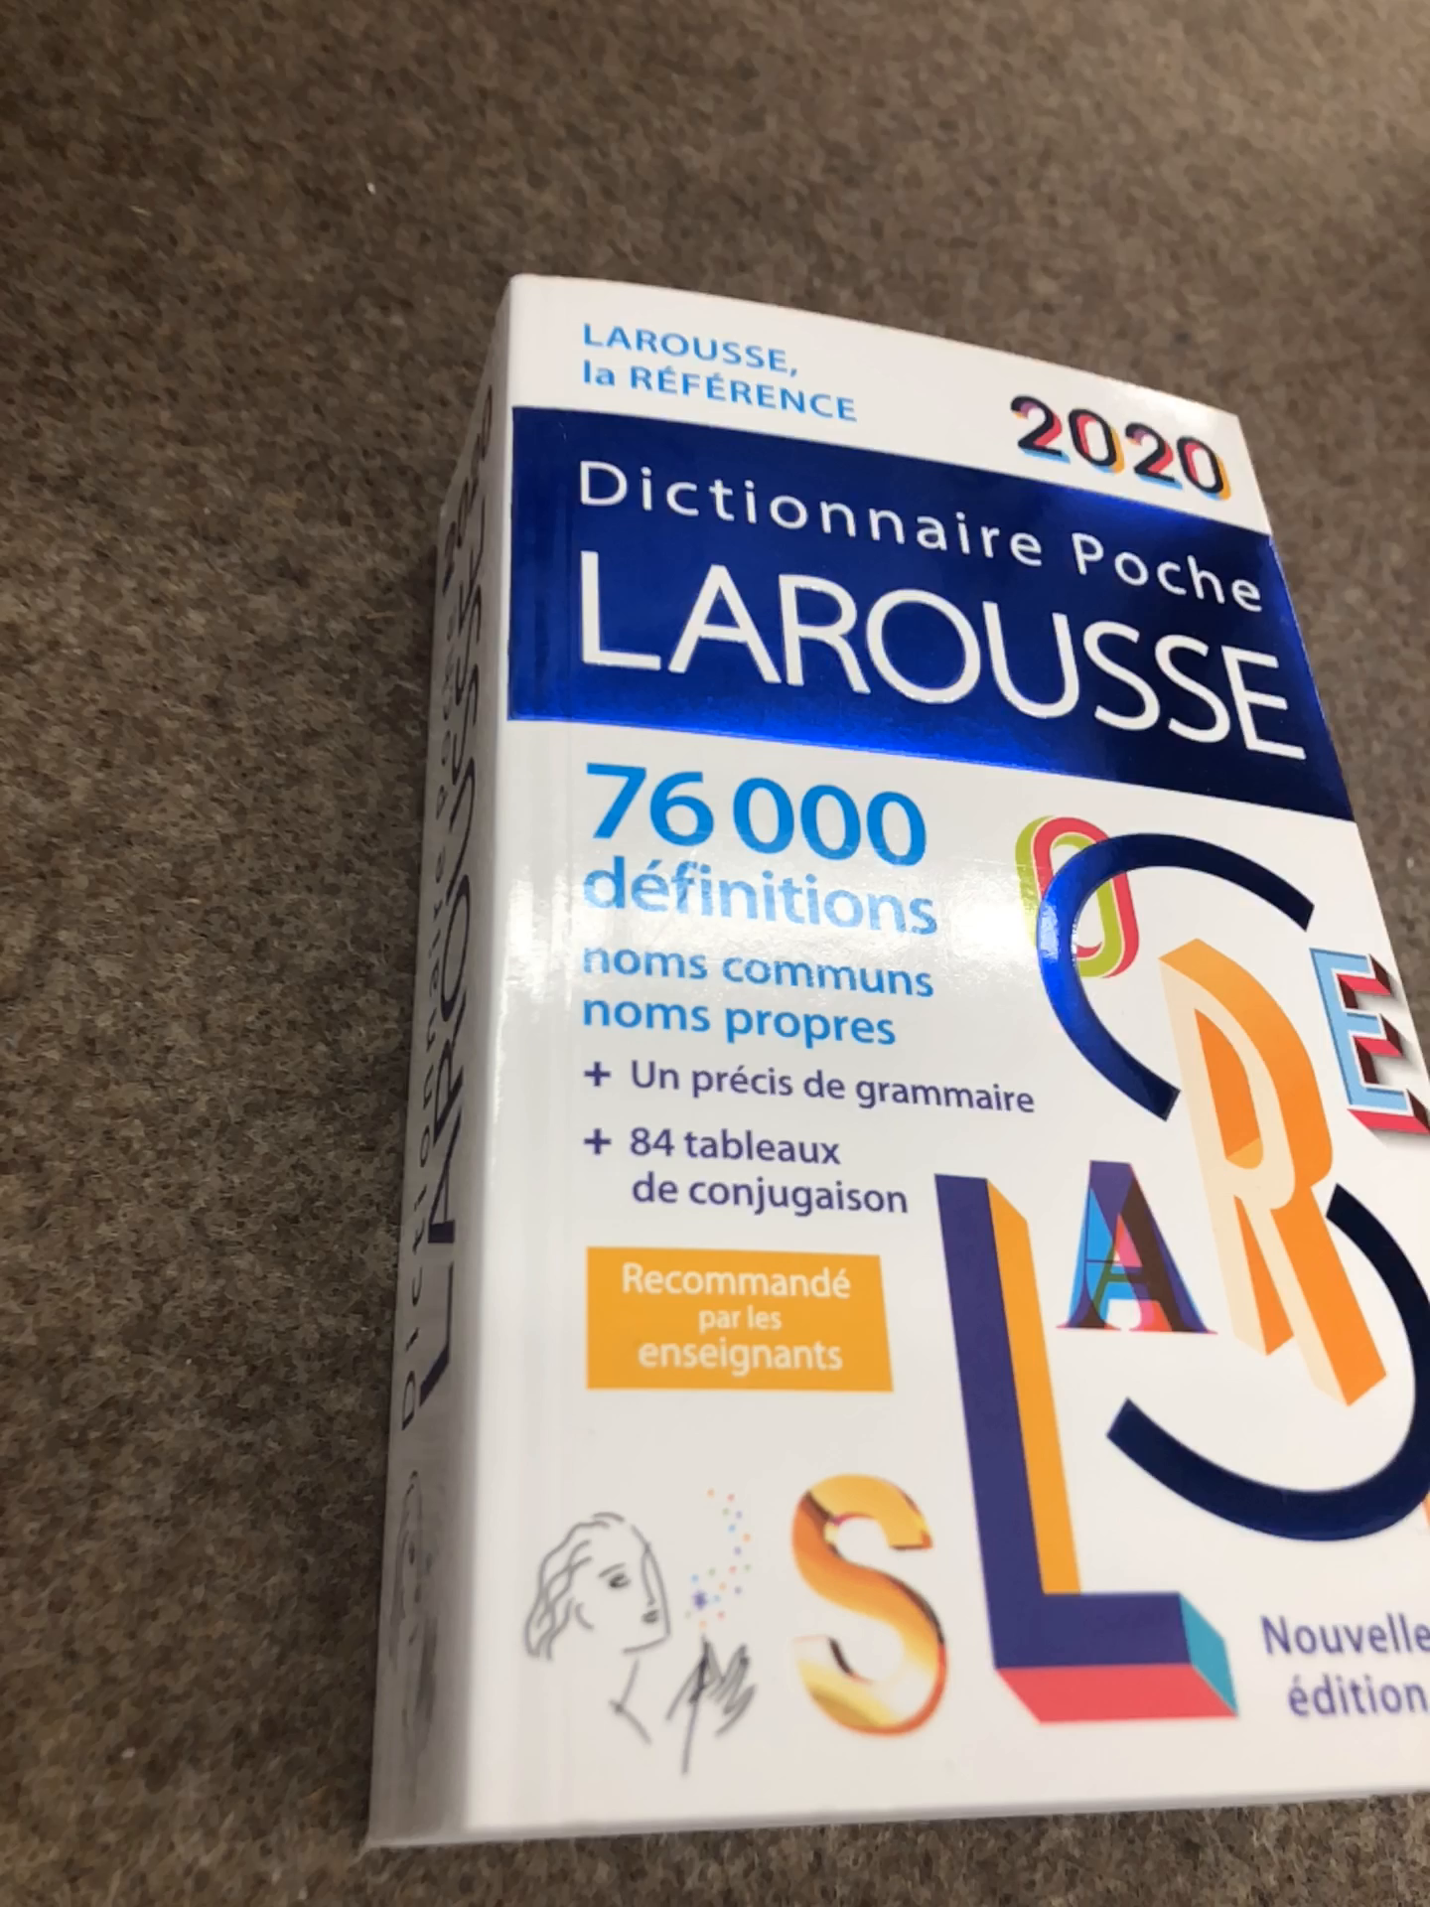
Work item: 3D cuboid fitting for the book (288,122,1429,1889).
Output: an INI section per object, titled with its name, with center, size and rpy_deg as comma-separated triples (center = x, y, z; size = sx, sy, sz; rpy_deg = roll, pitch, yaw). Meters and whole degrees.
[book]
center = 0.019, 0.002, 0.193
size = 0.117, 0.060, 0.184
rpy_deg = 8, 59, -21
